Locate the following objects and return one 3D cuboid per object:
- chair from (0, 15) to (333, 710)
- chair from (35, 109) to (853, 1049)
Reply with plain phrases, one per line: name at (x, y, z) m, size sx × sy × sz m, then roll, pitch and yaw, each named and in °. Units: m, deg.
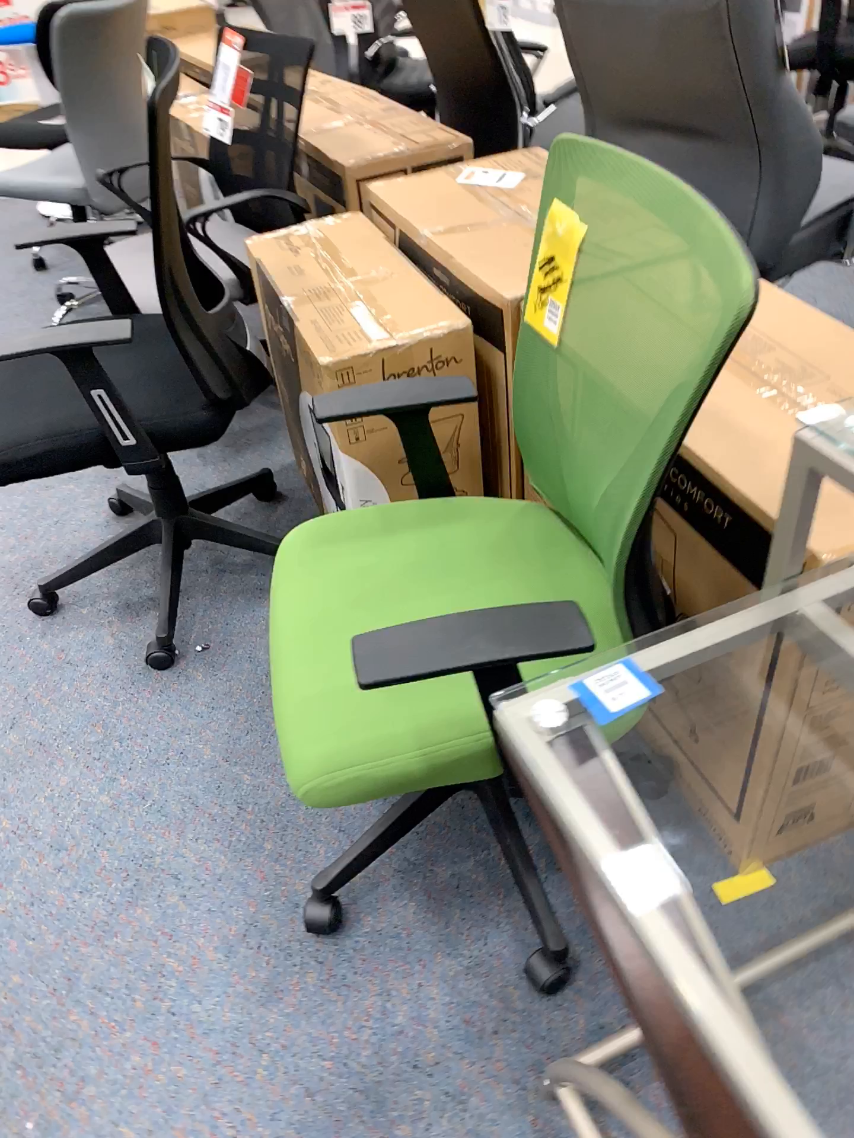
chair at (-0.598, -0.362, 1.595) m, size 0.657 × 0.972 × 0.648 m, roll -10°, pitch 40°, yaw -4°
chair at (0.031, 0.028, 1.109) m, size 0.597 × 0.912 × 0.648 m, roll -10°, pitch 40°, yaw -4°
